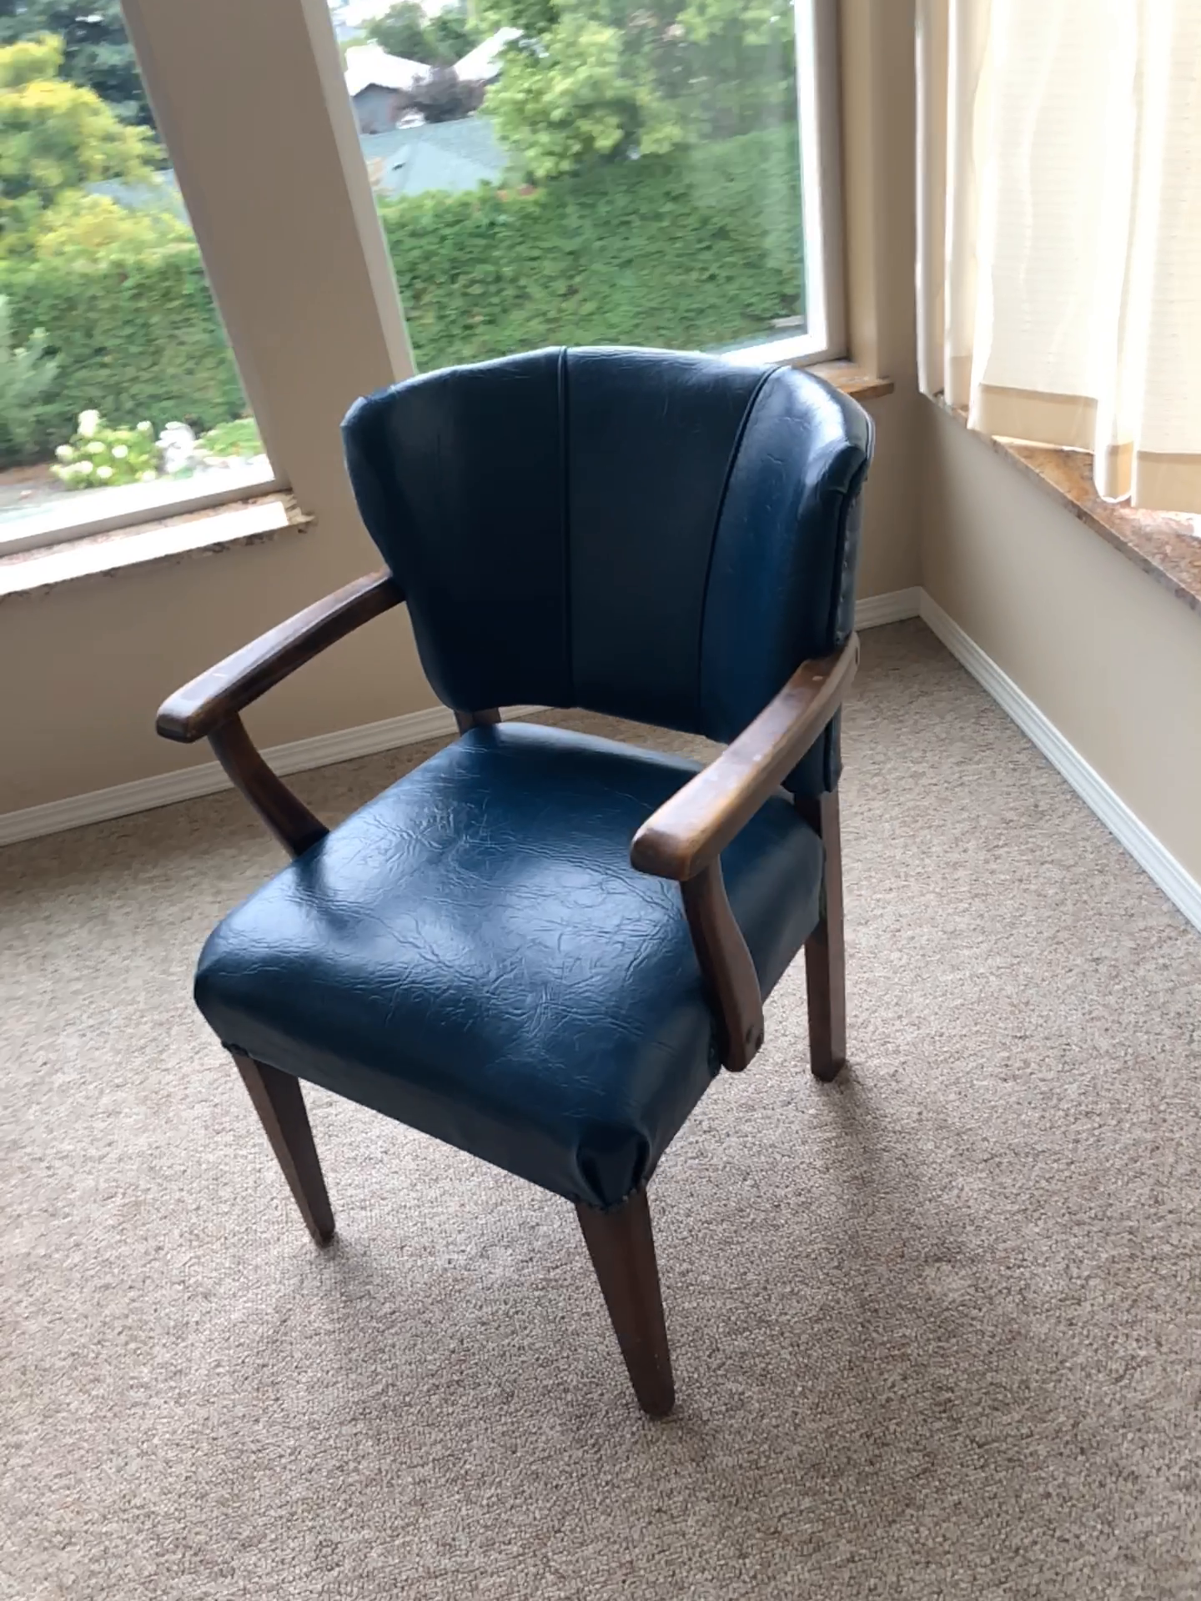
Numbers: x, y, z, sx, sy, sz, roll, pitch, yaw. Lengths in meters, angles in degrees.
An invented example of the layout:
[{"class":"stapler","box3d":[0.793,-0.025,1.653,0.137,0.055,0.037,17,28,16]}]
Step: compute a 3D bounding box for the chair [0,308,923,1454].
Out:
[{"class":"chair","box3d":[-0.054,0.048,1.237,0.531,0.797,0.561,15,44,29]}]
